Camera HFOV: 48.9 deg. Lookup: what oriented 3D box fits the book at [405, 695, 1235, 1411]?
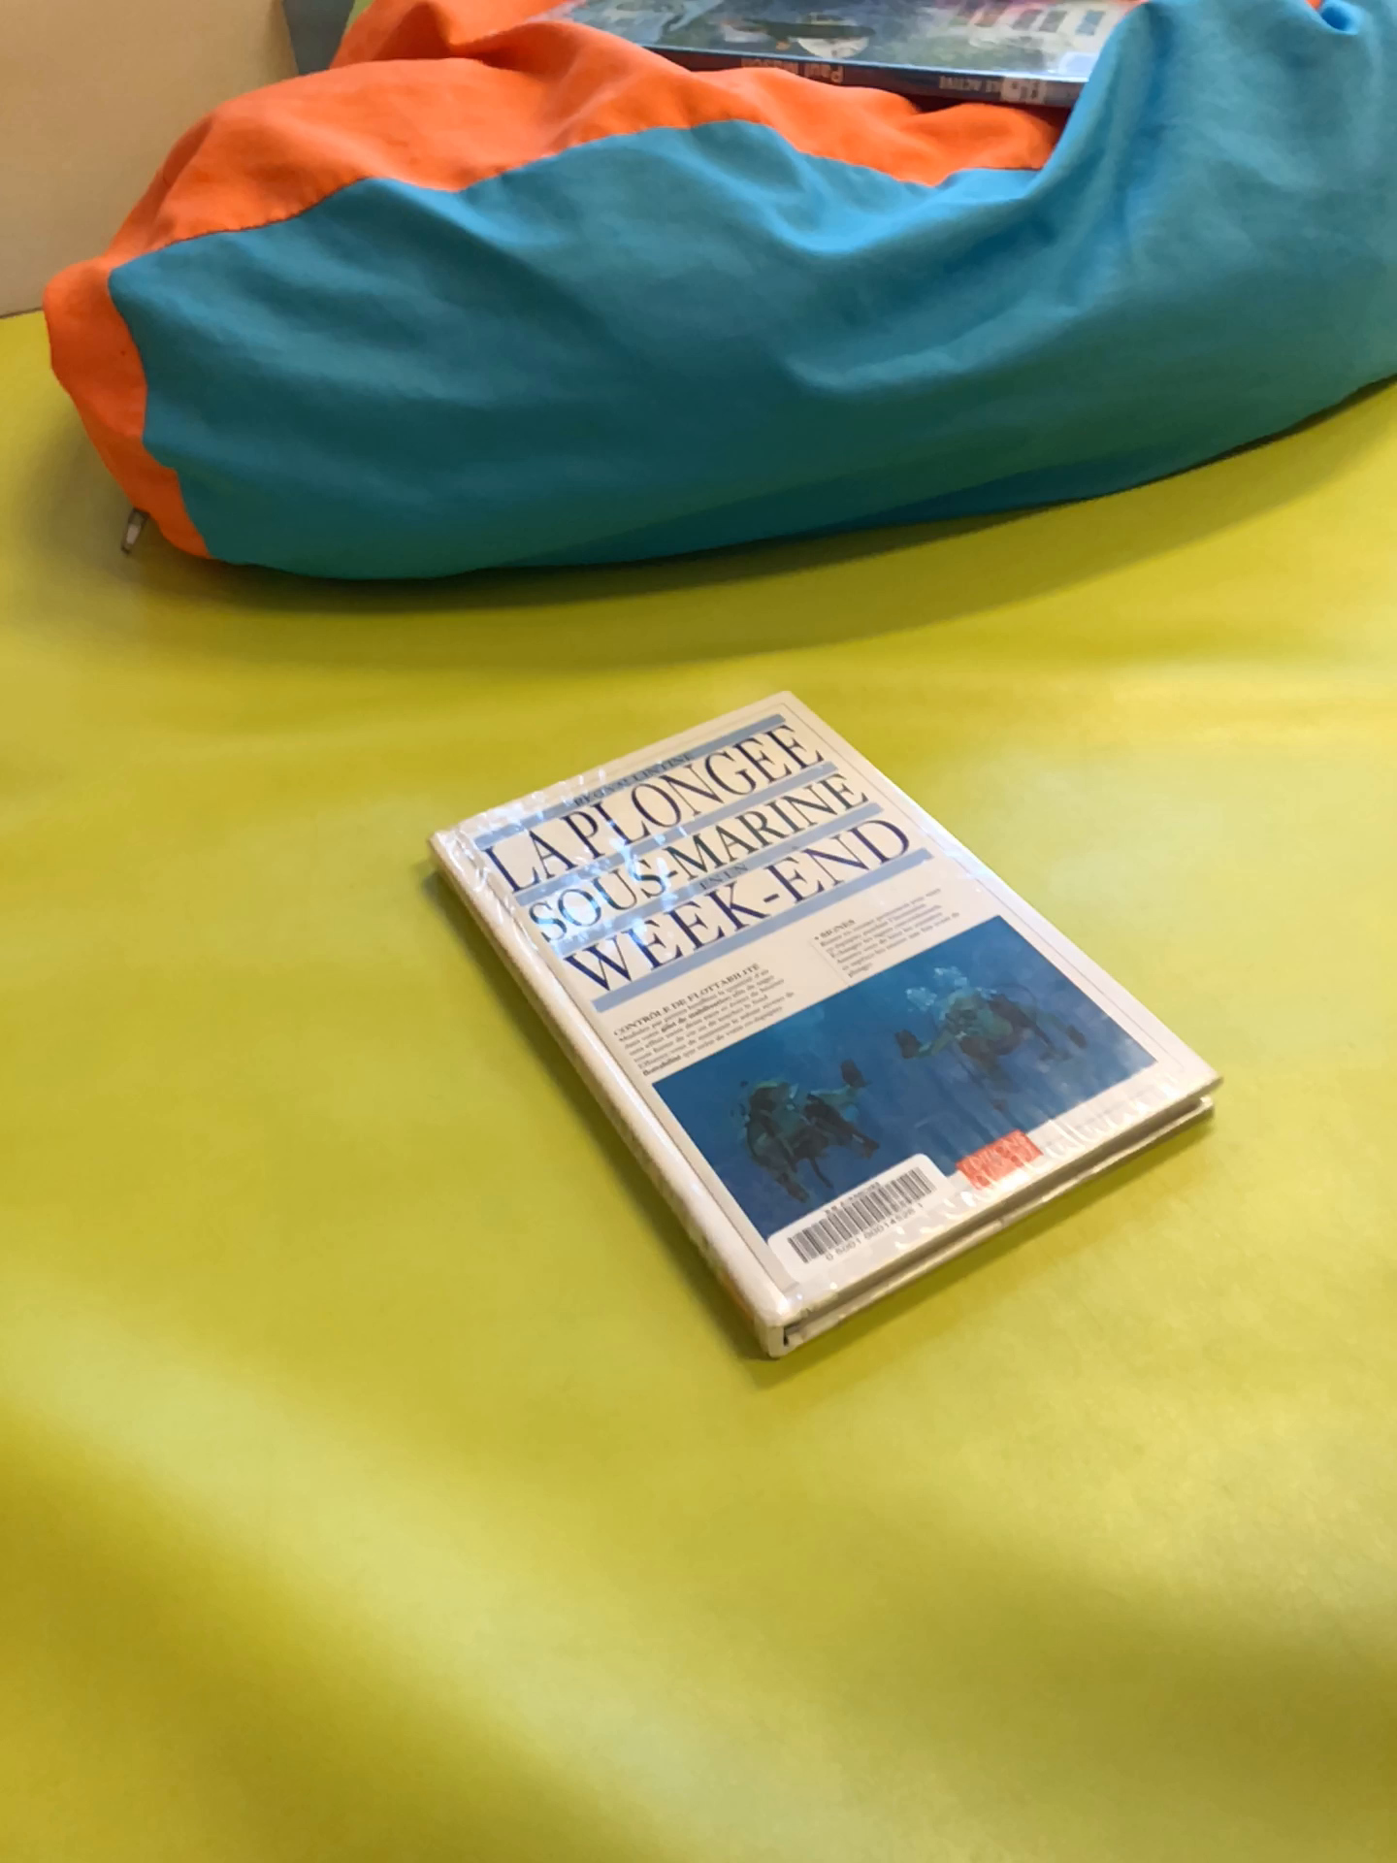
[{"bbox_3d":[0.024,0.016,0.478,0.150,0.020,0.235,-25,47,-19],"label":"book"}]
